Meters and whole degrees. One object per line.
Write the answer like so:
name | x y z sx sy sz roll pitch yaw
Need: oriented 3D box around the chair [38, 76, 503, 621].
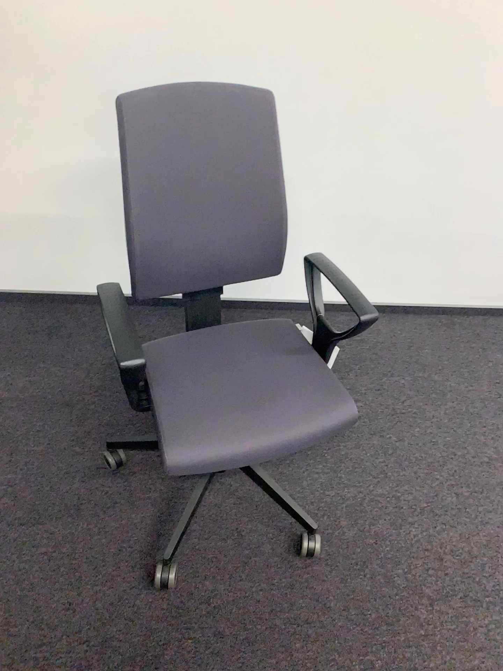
chair | -0.061 -0.002 1.319 0.701 1.034 0.783 -10 41 -18
